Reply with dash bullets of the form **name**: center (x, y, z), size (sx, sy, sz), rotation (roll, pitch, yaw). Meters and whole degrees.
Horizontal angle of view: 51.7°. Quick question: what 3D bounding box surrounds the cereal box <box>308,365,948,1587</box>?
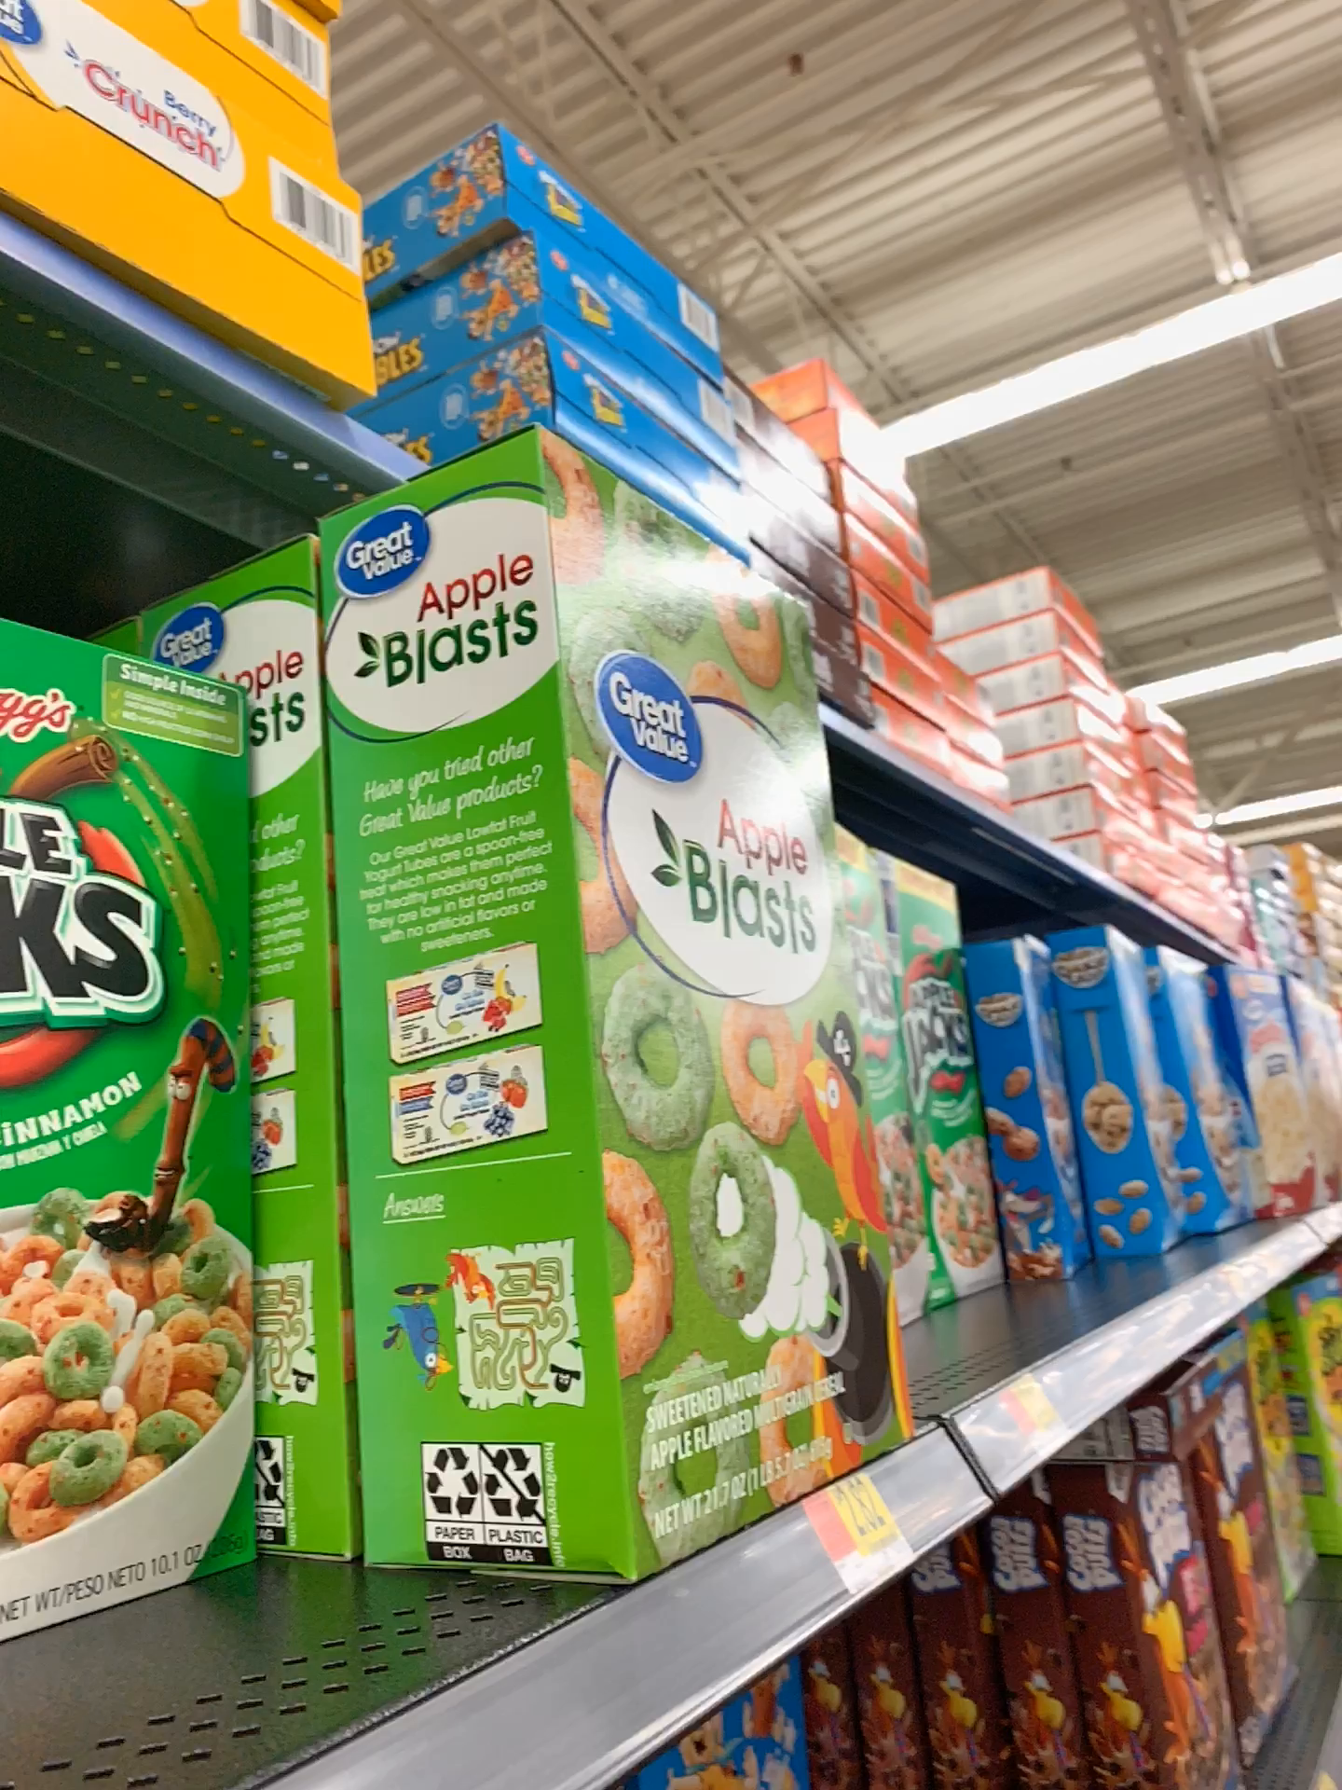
- **cereal box**: center (-0.010, 0.028, 0.478), size (0.100, 0.331, 0.200), rotation (-13, -15, 29)
